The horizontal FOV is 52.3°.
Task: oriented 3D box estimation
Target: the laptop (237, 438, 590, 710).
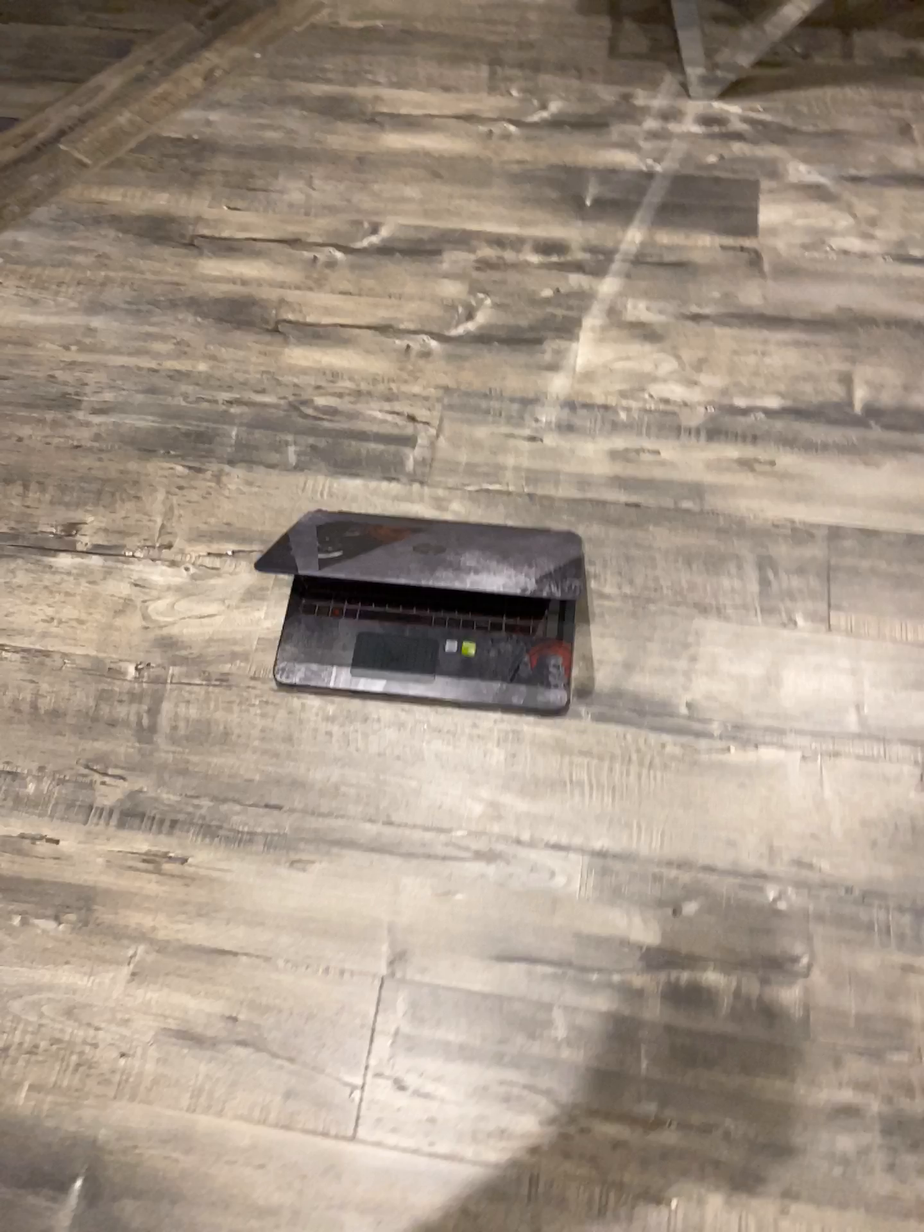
[{"bbox_3d":[-0.045,-0.050,1.157,0.374,0.177,0.251,5,64,5],"label":"laptop"}]
